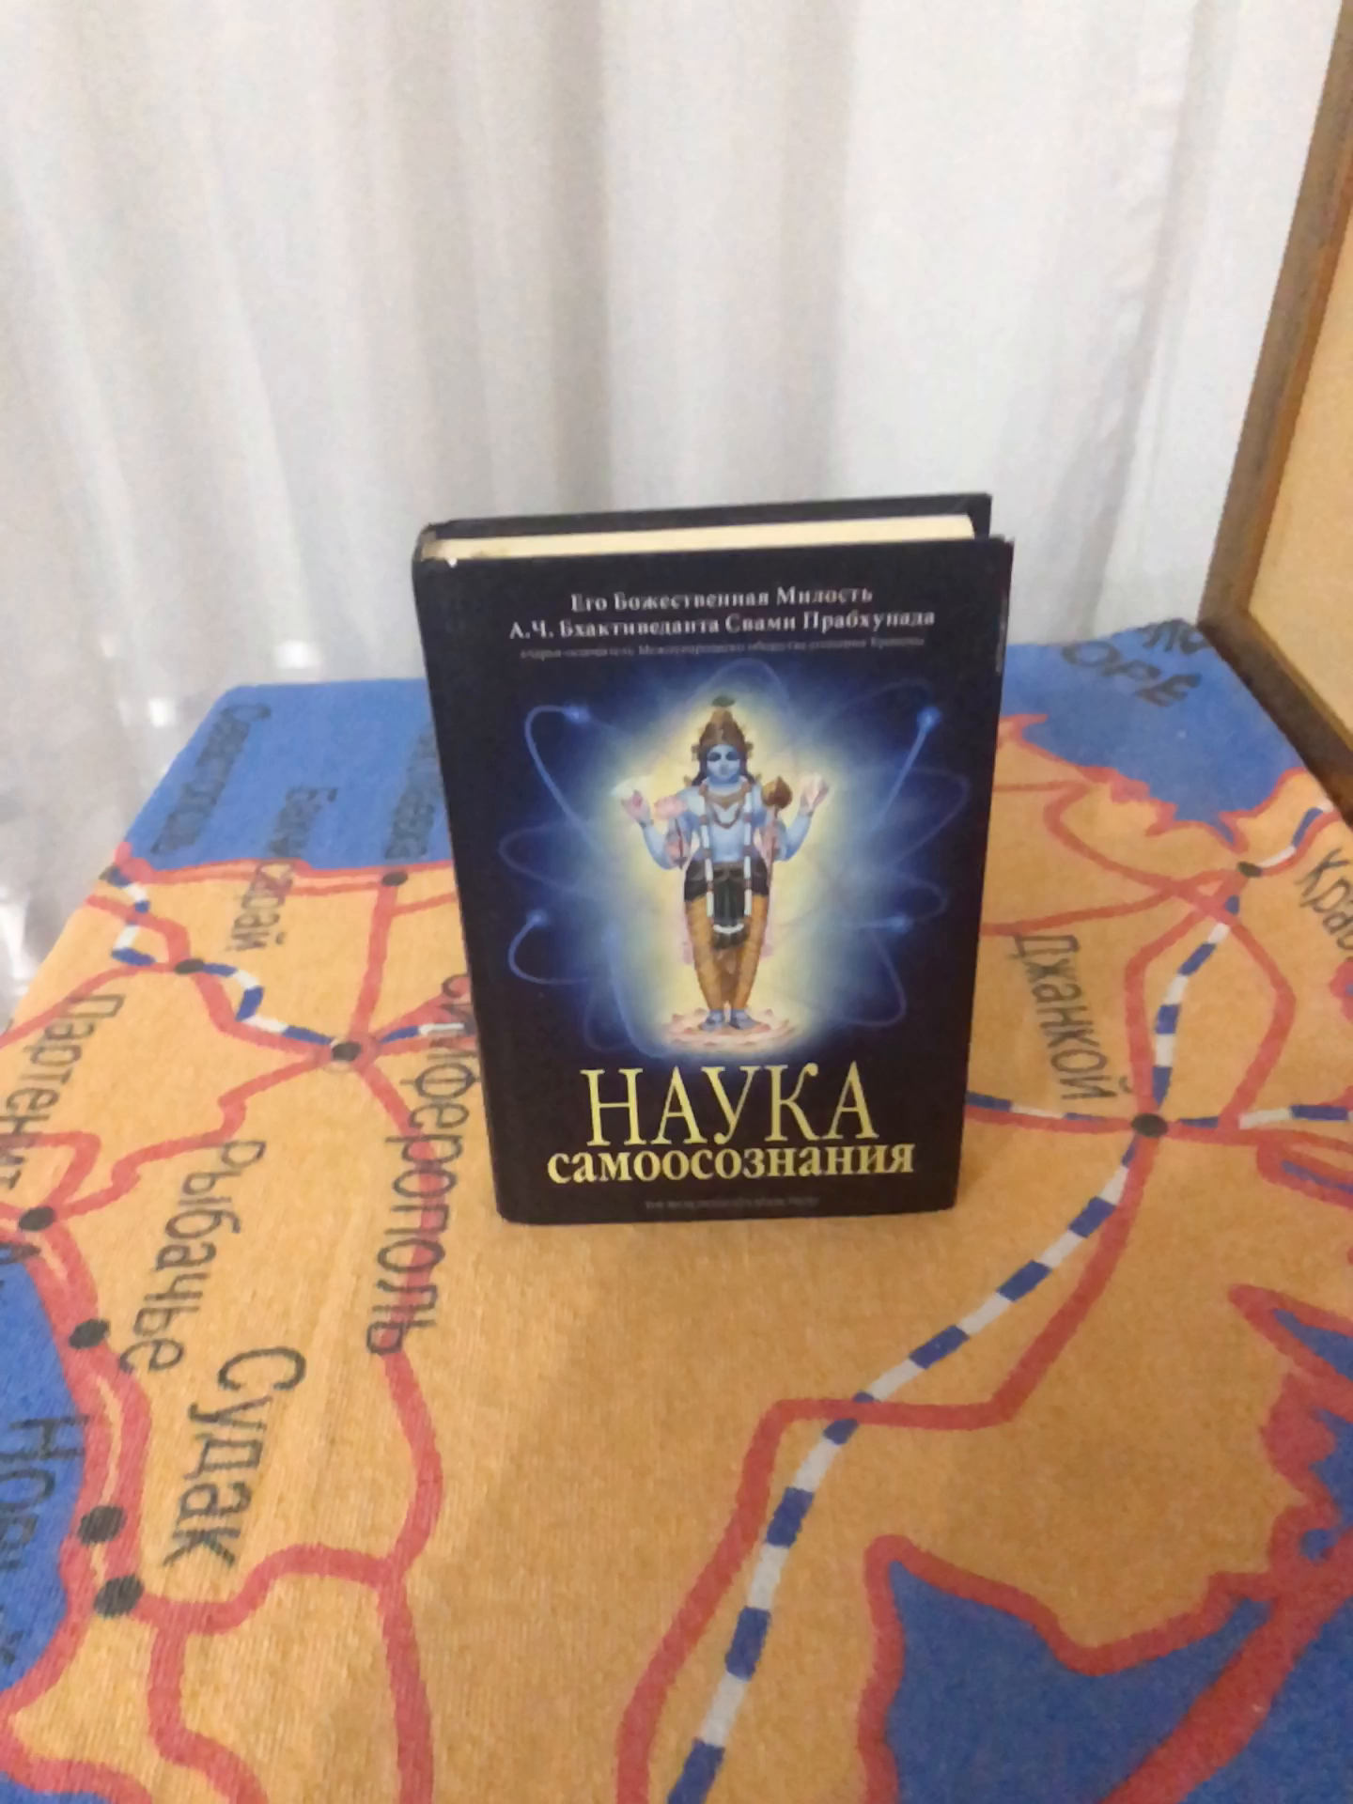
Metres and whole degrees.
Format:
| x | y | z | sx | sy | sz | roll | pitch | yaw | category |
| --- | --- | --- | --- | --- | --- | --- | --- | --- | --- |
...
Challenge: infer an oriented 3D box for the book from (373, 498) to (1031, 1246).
| x | y | z | sx | sy | sz | roll | pitch | yaw | category |
| --- | --- | --- | --- | --- | --- | --- | --- | --- | --- |
| 0.009 | 0.004 | 0.388 | 0.140 | 0.206 | 0.030 | -2 | 35 | 0 | book |
